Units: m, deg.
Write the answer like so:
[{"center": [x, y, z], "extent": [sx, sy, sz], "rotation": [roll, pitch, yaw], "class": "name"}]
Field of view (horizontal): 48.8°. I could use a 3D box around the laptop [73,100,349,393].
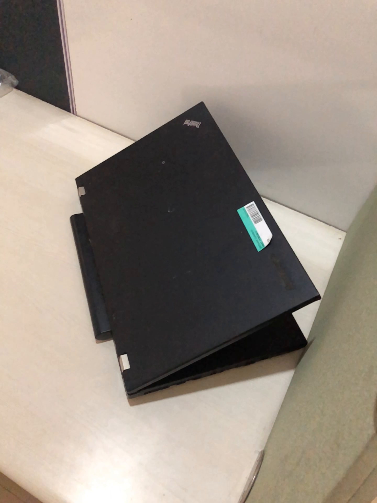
[{"center": [-0.005, -0.033, 0.566], "extent": [0.232, 0.140, 0.356], "rotation": [-12, 53, -14], "class": "laptop"}]
